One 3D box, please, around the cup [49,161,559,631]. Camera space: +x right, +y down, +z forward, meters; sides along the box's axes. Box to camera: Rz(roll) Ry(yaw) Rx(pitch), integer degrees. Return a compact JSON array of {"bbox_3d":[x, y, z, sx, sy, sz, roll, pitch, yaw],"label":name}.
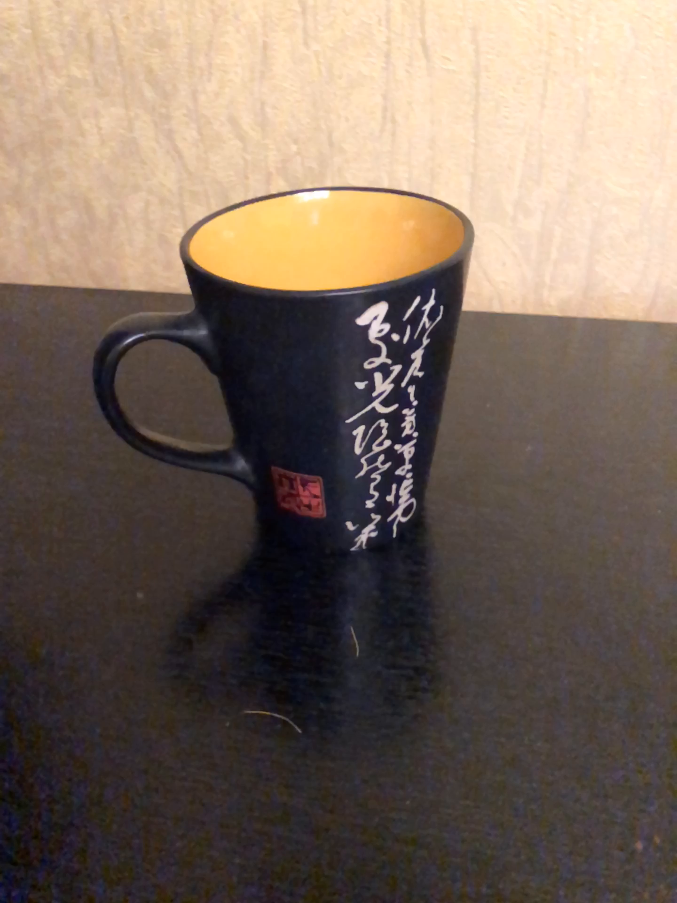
[{"bbox_3d":[-0.012,-0.027,0.259,0.130,0.099,0.090,-18,38,-20],"label":"cup"}]
